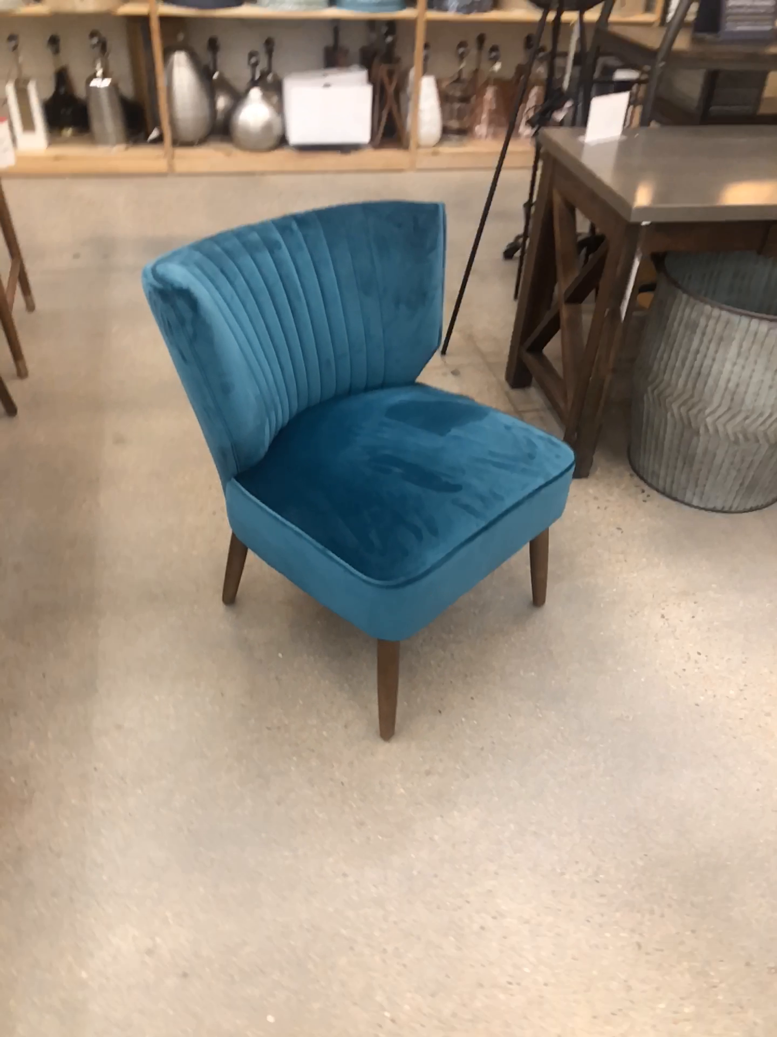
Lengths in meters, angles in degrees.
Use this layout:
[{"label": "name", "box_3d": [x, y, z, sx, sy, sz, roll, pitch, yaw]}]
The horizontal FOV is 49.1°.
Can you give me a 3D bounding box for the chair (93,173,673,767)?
[{"label": "chair", "box_3d": [-0.012, -0.144, 1.573, 0.661, 0.676, 0.662, 30, 46, 30]}]
